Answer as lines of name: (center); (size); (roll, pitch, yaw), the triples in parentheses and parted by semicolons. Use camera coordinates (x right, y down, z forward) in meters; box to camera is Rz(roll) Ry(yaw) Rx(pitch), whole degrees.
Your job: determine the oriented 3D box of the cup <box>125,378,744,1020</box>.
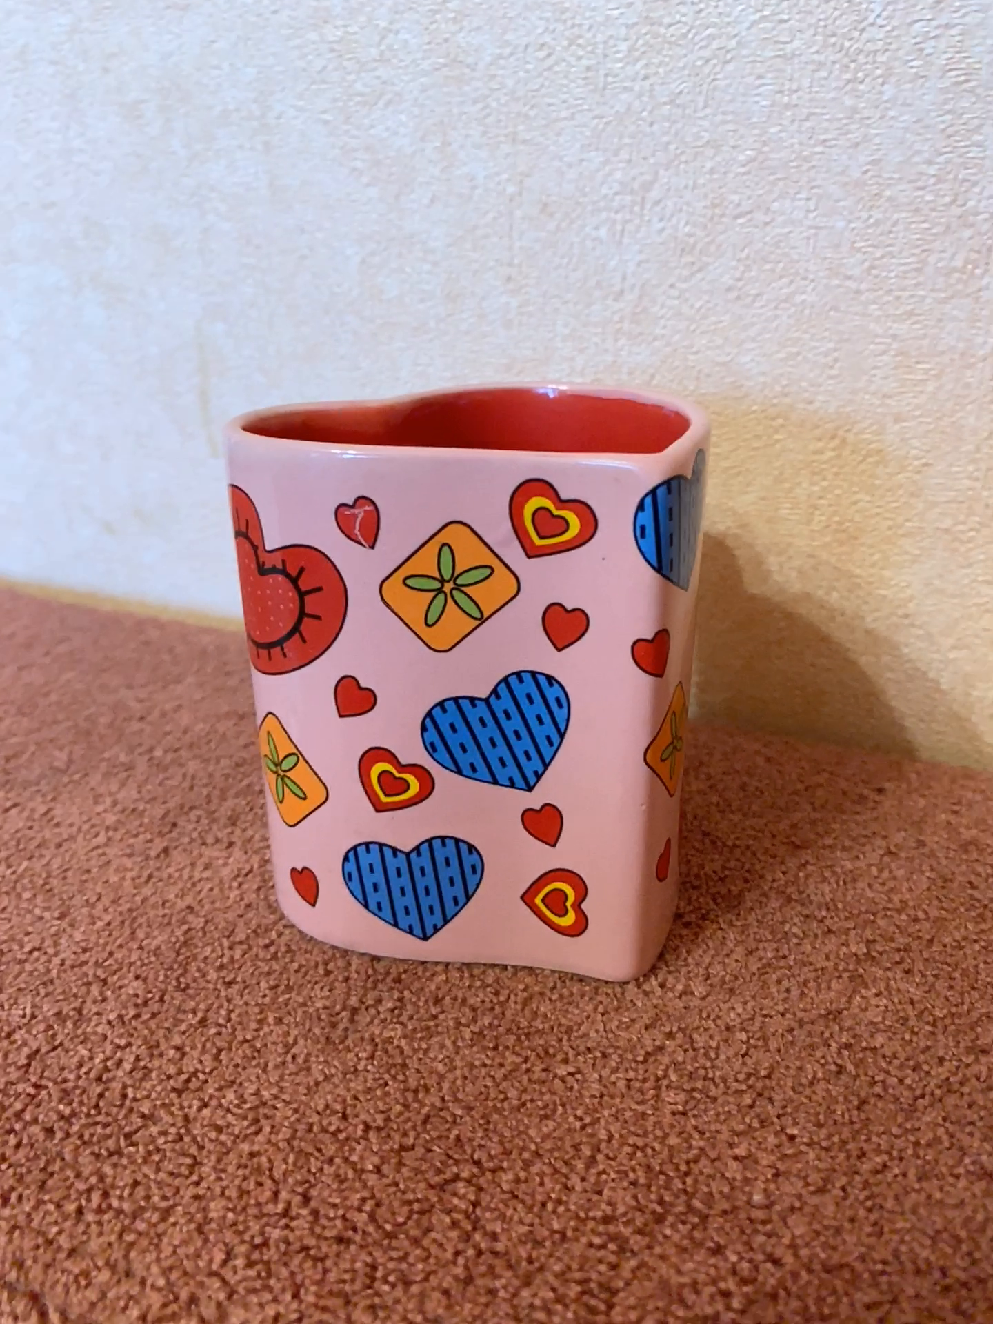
cup: (-0.005, -0.001, 0.195); (0.085, 0.091, 0.083); (0, 22, 0)
